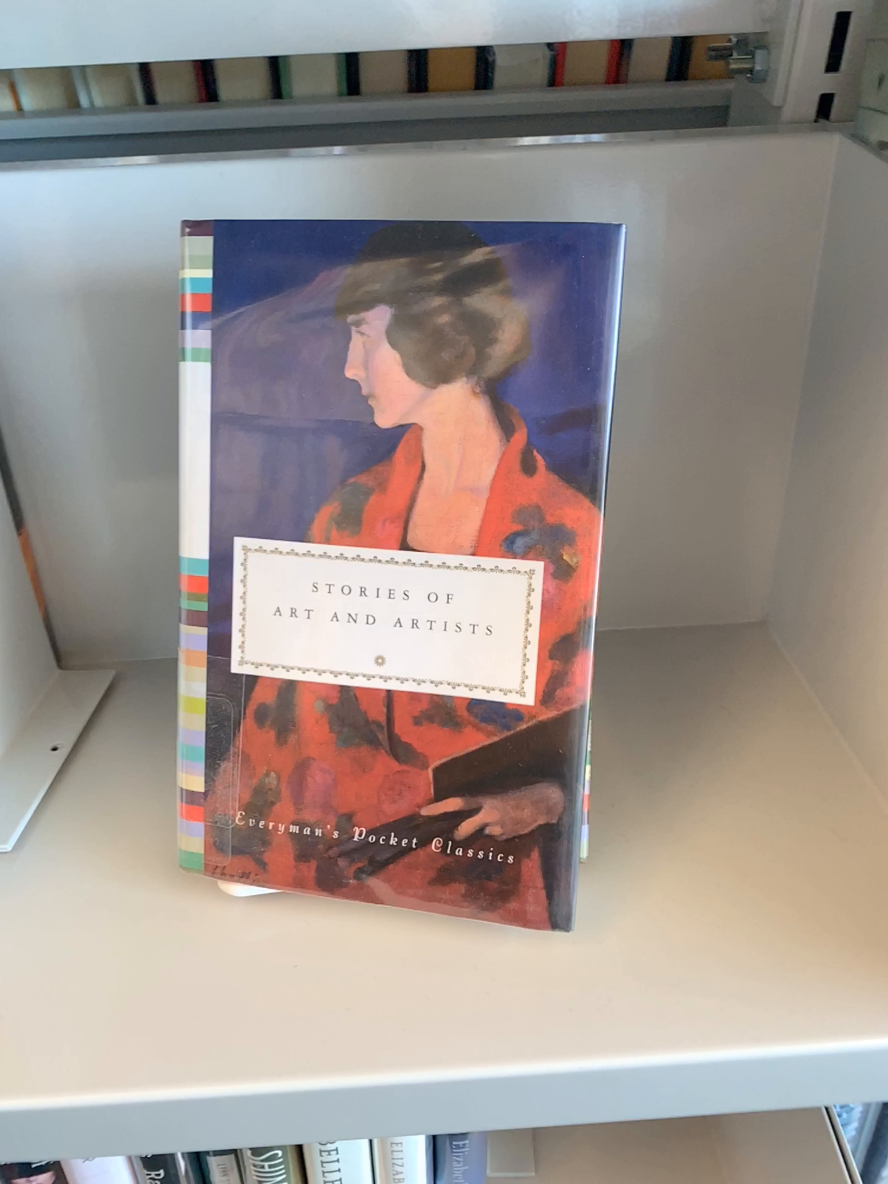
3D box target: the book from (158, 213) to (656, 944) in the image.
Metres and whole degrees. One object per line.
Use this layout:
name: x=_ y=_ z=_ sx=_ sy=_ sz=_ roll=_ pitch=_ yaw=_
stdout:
book: x=-0.014 y=-0.006 z=0.266 sx=0.129 sy=0.187 sz=0.040 roll=6 pitch=10 yaw=12
